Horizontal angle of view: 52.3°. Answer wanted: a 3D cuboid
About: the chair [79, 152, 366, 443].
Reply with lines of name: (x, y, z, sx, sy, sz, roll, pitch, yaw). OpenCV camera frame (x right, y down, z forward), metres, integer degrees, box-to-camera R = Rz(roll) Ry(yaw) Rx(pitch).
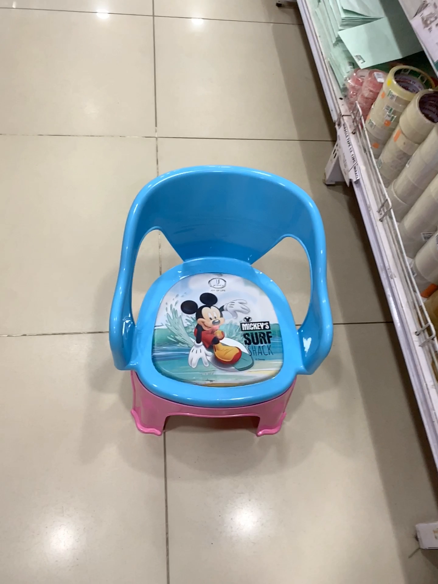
chair: (-0.007, 0.029, 0.775, 0.350, 0.320, 0.390, 2, 61, -5)
